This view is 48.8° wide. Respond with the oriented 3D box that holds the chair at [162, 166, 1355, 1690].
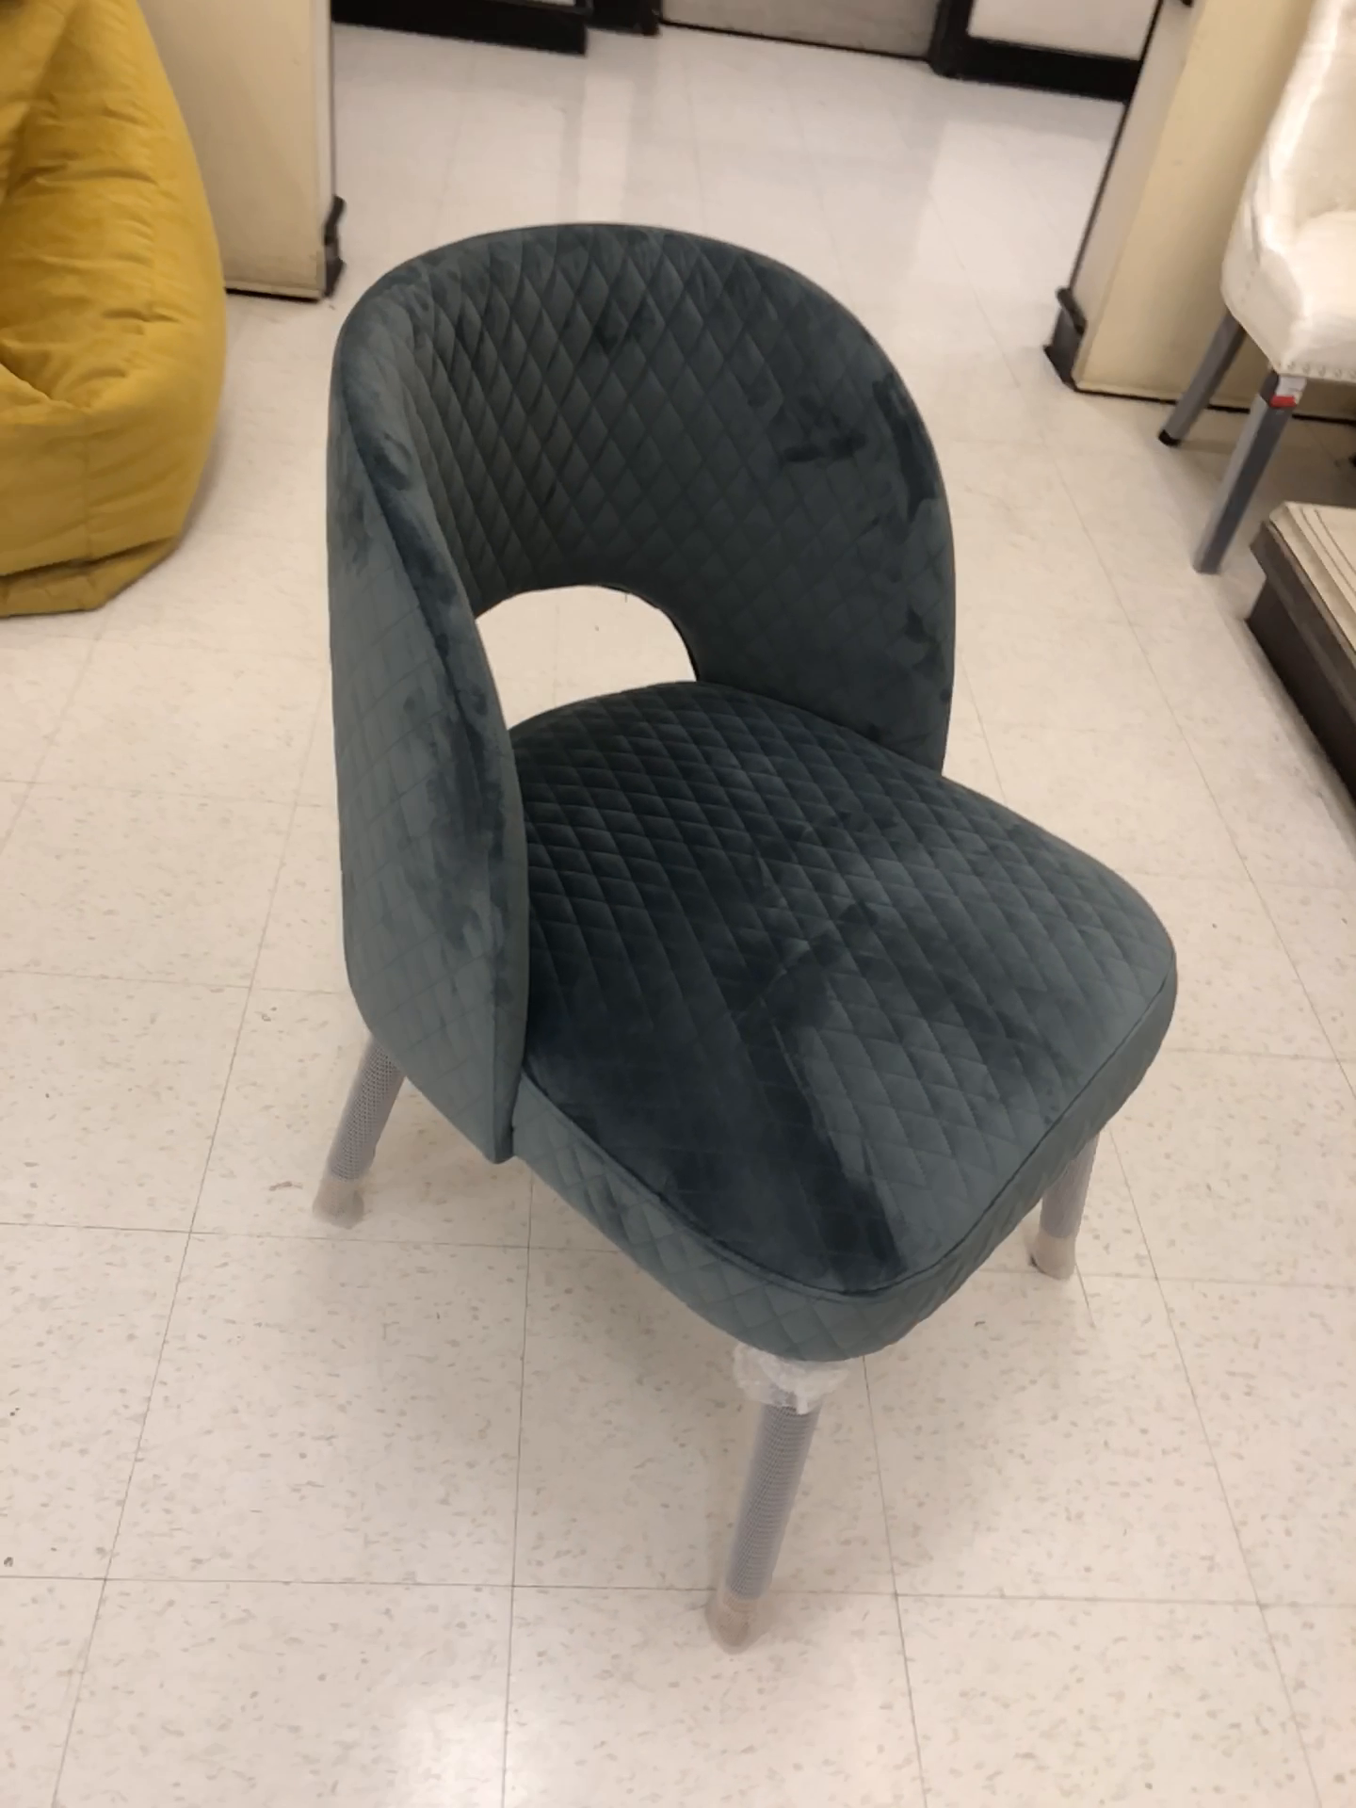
[{"bbox_3d":[0.052,0.019,1.142,0.581,0.857,0.533,35,47,25],"label":"chair"}]
